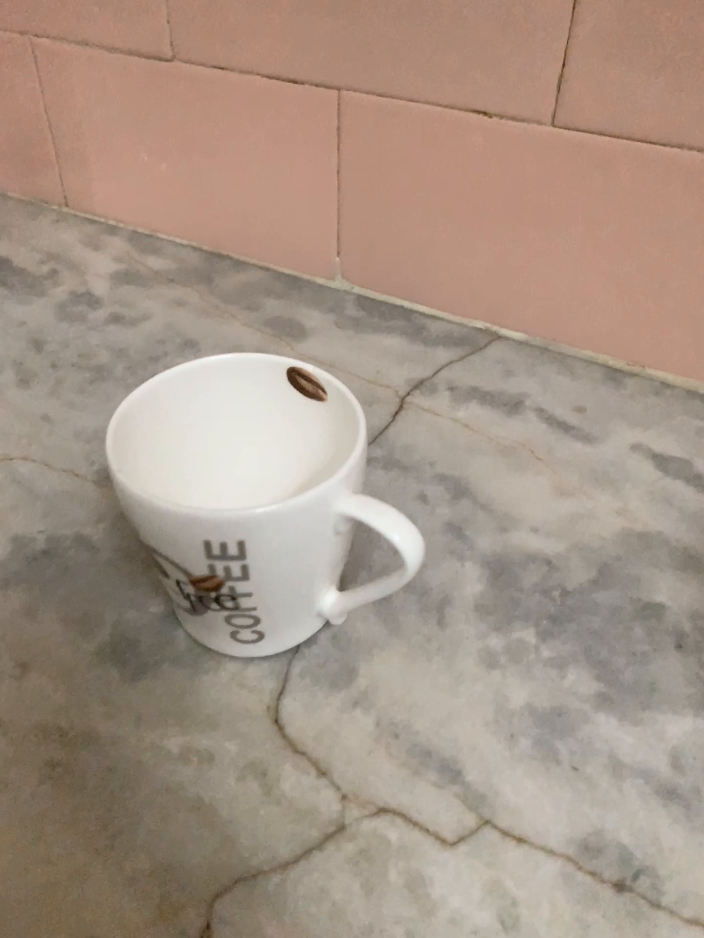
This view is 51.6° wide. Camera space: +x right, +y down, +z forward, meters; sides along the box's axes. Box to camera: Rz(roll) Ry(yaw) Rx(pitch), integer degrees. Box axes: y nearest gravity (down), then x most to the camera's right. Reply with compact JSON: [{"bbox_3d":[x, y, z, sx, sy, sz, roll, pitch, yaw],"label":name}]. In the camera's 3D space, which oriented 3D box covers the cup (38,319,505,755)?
[{"bbox_3d":[-0.020,0.015,0.214,0.100,0.070,0.070,20,45,20],"label":"cup"}]
